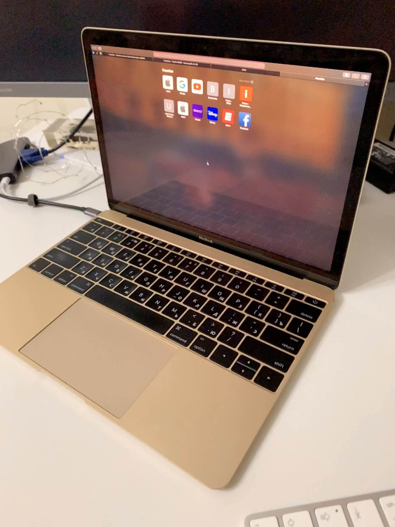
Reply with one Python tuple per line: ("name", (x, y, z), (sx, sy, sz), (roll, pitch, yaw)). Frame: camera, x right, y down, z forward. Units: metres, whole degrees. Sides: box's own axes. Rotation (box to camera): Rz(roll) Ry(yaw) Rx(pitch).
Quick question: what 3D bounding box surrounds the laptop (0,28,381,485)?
("laptop", (-0.044, -0.043, 0.286), (0.247, 0.168, 0.198), (21, 46, 28))
